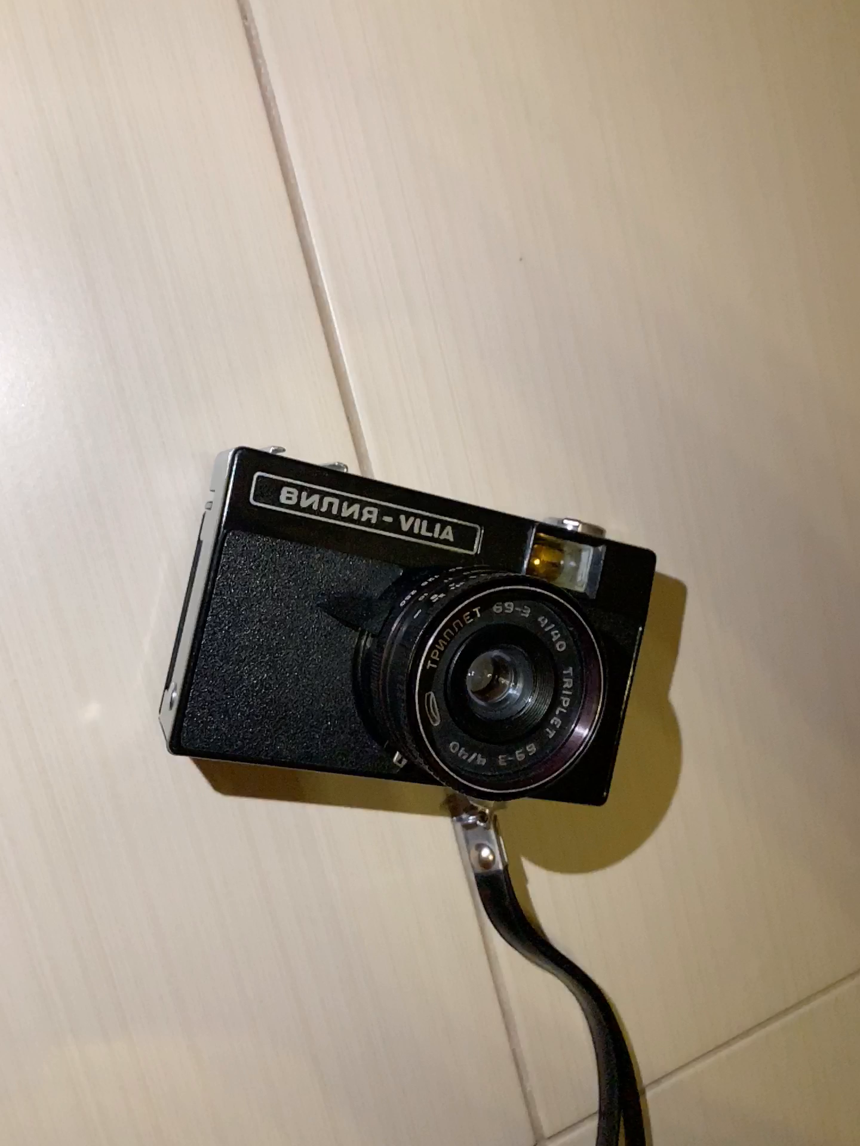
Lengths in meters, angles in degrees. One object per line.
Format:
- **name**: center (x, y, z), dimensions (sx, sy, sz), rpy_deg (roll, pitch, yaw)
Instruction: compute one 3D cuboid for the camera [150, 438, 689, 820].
- **camera**: center (-0.002, 0.016, 0.238), dimensions (0.124, 0.041, 0.072), rpy_deg (12, 90, -19)
